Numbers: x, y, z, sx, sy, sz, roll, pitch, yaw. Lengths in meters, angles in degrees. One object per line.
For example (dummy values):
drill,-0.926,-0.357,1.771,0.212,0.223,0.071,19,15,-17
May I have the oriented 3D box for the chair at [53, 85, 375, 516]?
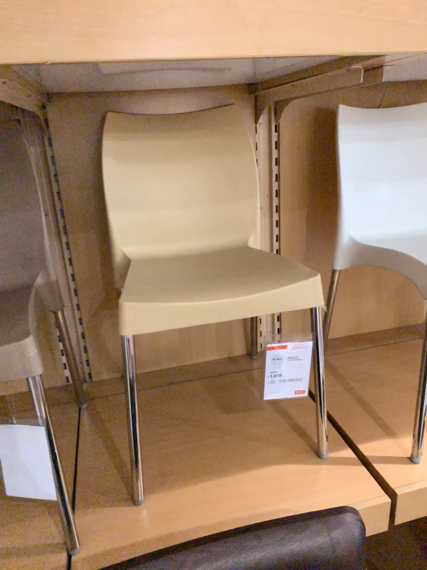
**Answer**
chair,-0.049,-0.030,1.103,0.540,0.807,0.592,-6,20,-15
